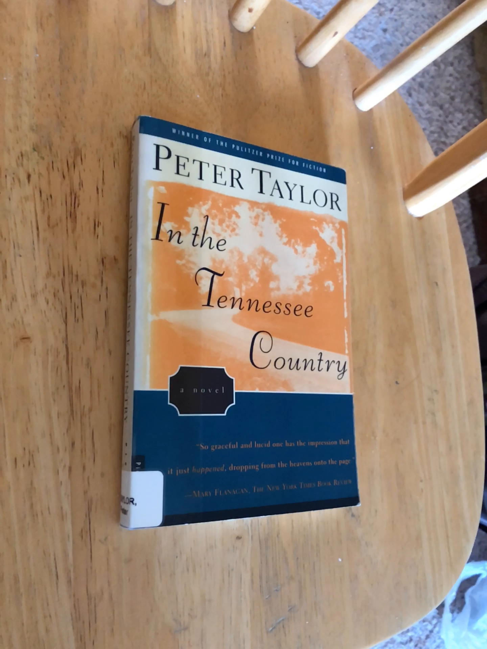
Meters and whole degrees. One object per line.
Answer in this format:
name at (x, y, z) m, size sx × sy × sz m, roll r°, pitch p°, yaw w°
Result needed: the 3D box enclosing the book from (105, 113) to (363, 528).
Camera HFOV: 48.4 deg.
book at (0.000, -0.001, 0.299) m, size 0.137 × 0.025 × 0.200 m, roll 6°, pitch 78°, yaw -28°
